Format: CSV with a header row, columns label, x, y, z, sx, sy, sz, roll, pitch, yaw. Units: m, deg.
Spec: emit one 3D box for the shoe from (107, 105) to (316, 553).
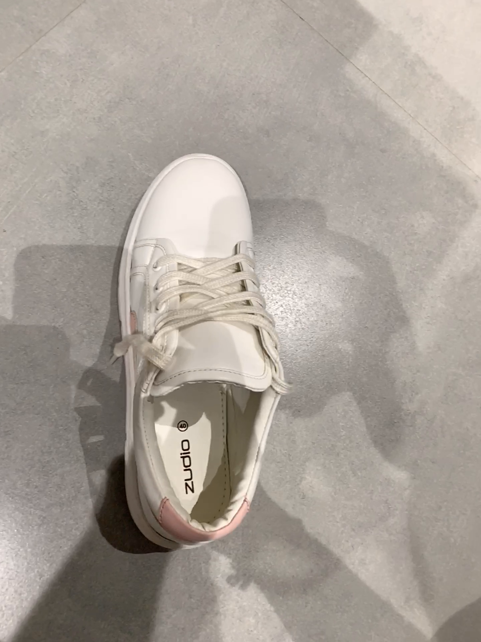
label,x,y,z,sx,sy,sz,roll,pitch,yaw
shoe,-0.027,0.005,0.330,0.110,0.100,0.250,3,76,-14
